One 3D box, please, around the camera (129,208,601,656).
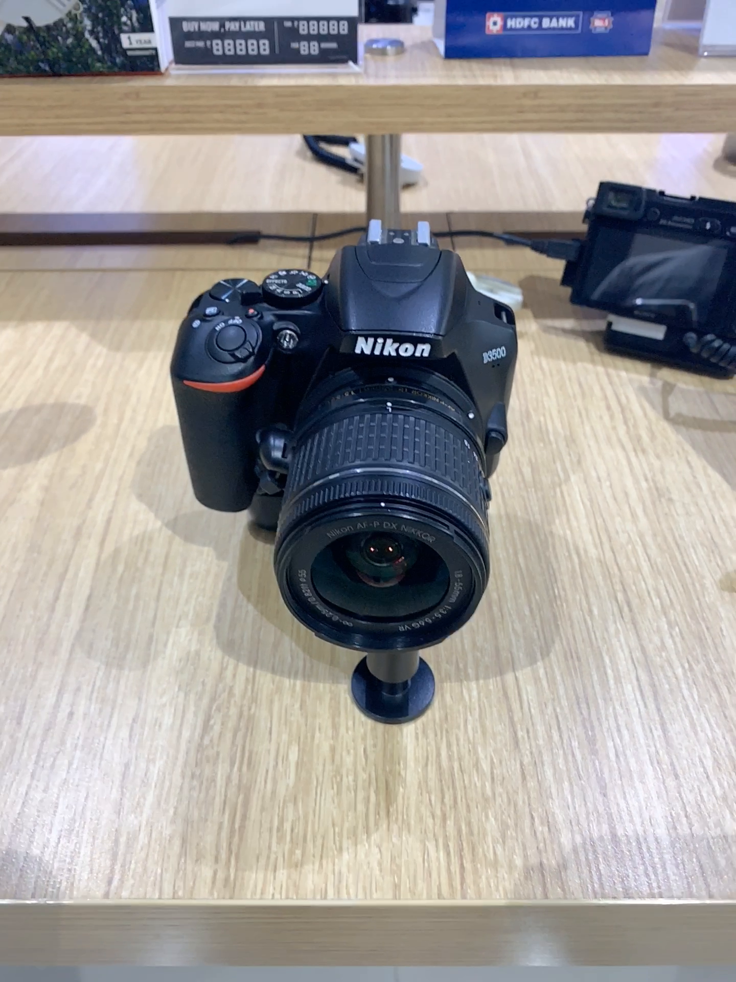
[{"bbox_3d":[0.000,-0.021,0.235,0.102,0.091,0.104,1,42,1],"label":"camera"}]
